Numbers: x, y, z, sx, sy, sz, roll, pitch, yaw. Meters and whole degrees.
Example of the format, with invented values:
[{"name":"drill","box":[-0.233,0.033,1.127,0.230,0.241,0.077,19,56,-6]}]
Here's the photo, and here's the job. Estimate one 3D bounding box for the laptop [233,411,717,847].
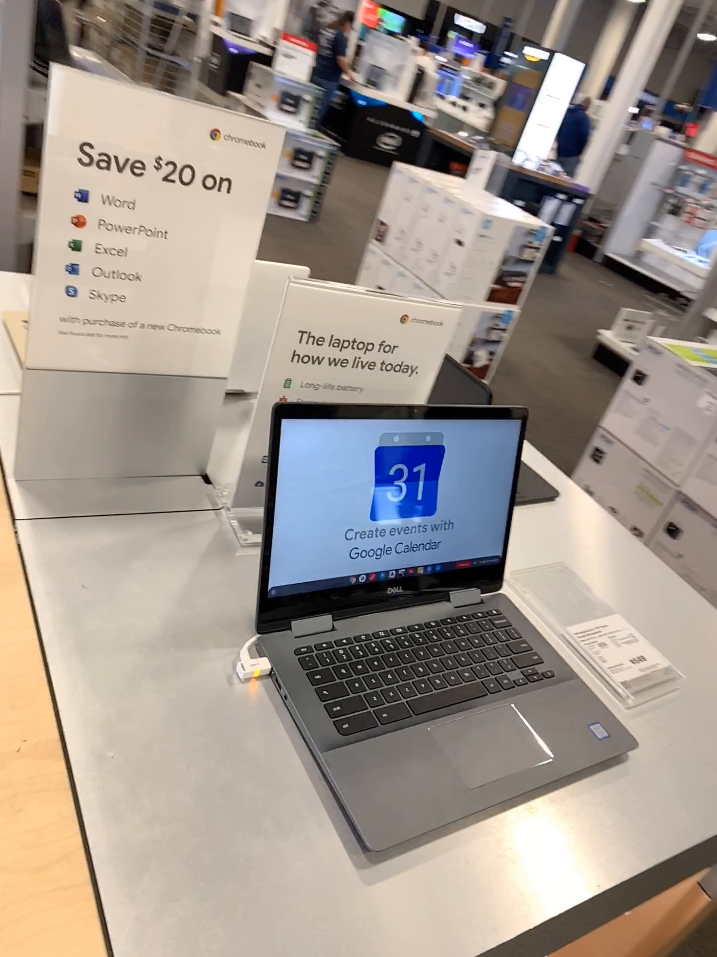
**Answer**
[{"name":"laptop","box":[0.100,0.099,0.681,0.310,0.202,0.293,-3,36,-34]}]
